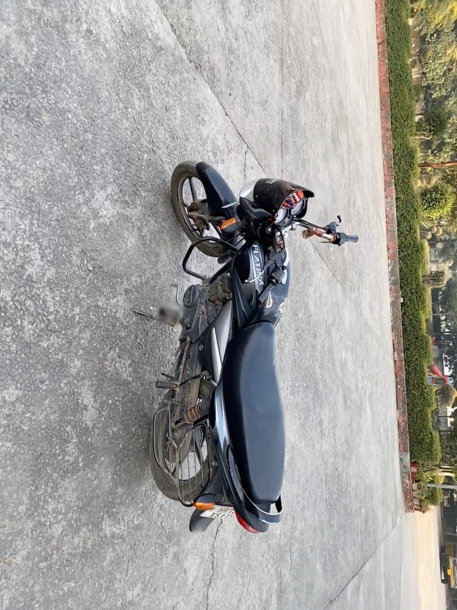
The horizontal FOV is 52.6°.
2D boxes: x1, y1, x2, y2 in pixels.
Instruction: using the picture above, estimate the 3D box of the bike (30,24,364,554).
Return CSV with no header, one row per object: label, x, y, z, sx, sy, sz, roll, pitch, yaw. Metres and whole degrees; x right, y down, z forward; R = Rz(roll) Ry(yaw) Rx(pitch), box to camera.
bike,-0.076,-0.015,2.022,0.775,1.078,1.737,28,60,-63
